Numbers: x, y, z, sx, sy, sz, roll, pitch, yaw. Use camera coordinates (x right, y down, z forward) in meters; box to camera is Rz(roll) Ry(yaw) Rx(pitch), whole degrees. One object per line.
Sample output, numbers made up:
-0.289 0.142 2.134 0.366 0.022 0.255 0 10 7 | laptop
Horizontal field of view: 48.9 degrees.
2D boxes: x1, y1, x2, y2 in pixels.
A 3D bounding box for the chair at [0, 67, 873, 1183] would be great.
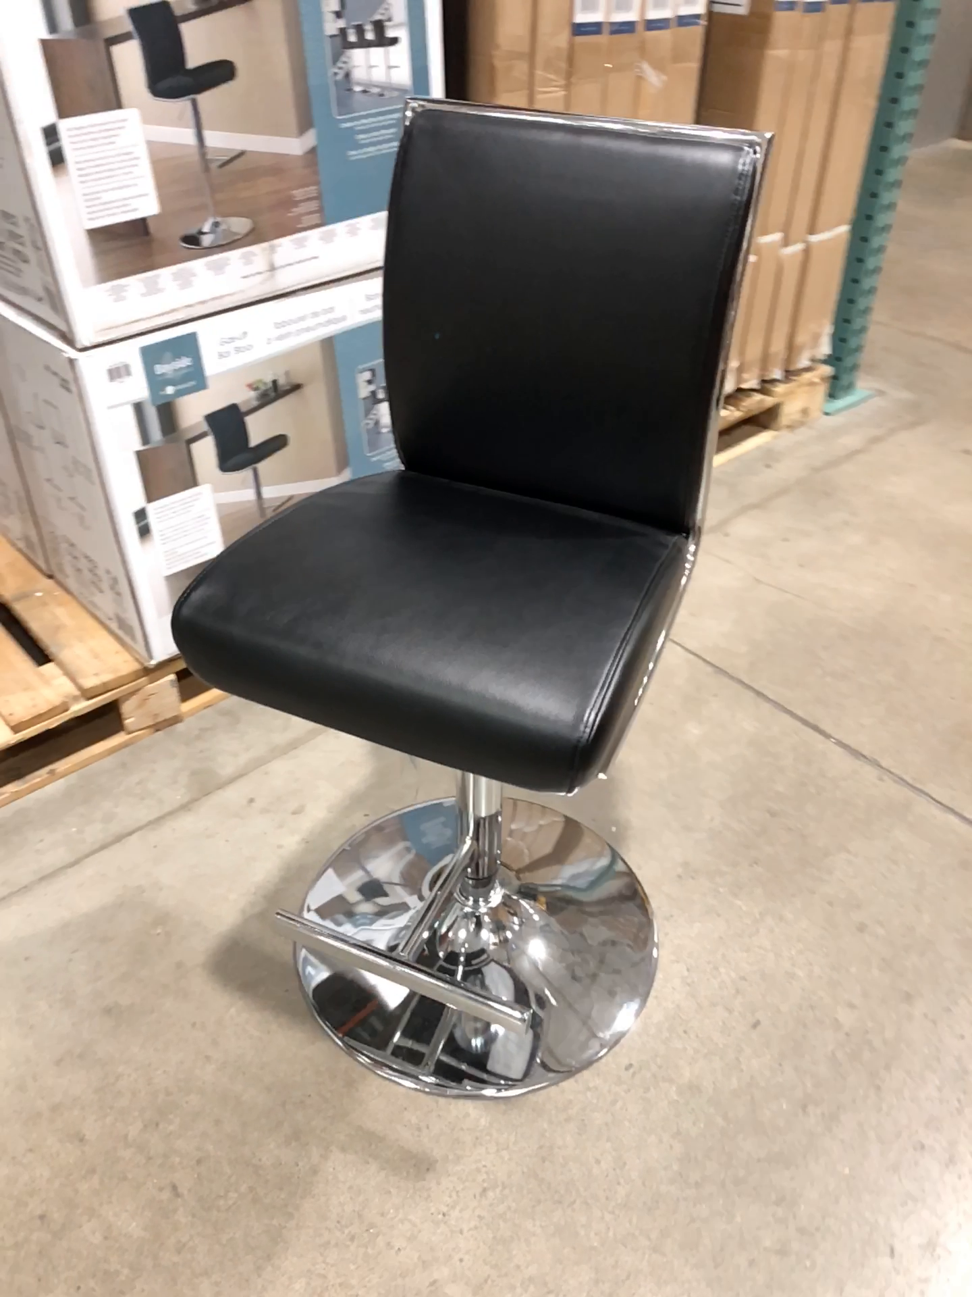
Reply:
-0.001 -0.021 1.135 0.530 0.946 0.542 14 39 16 | chair
